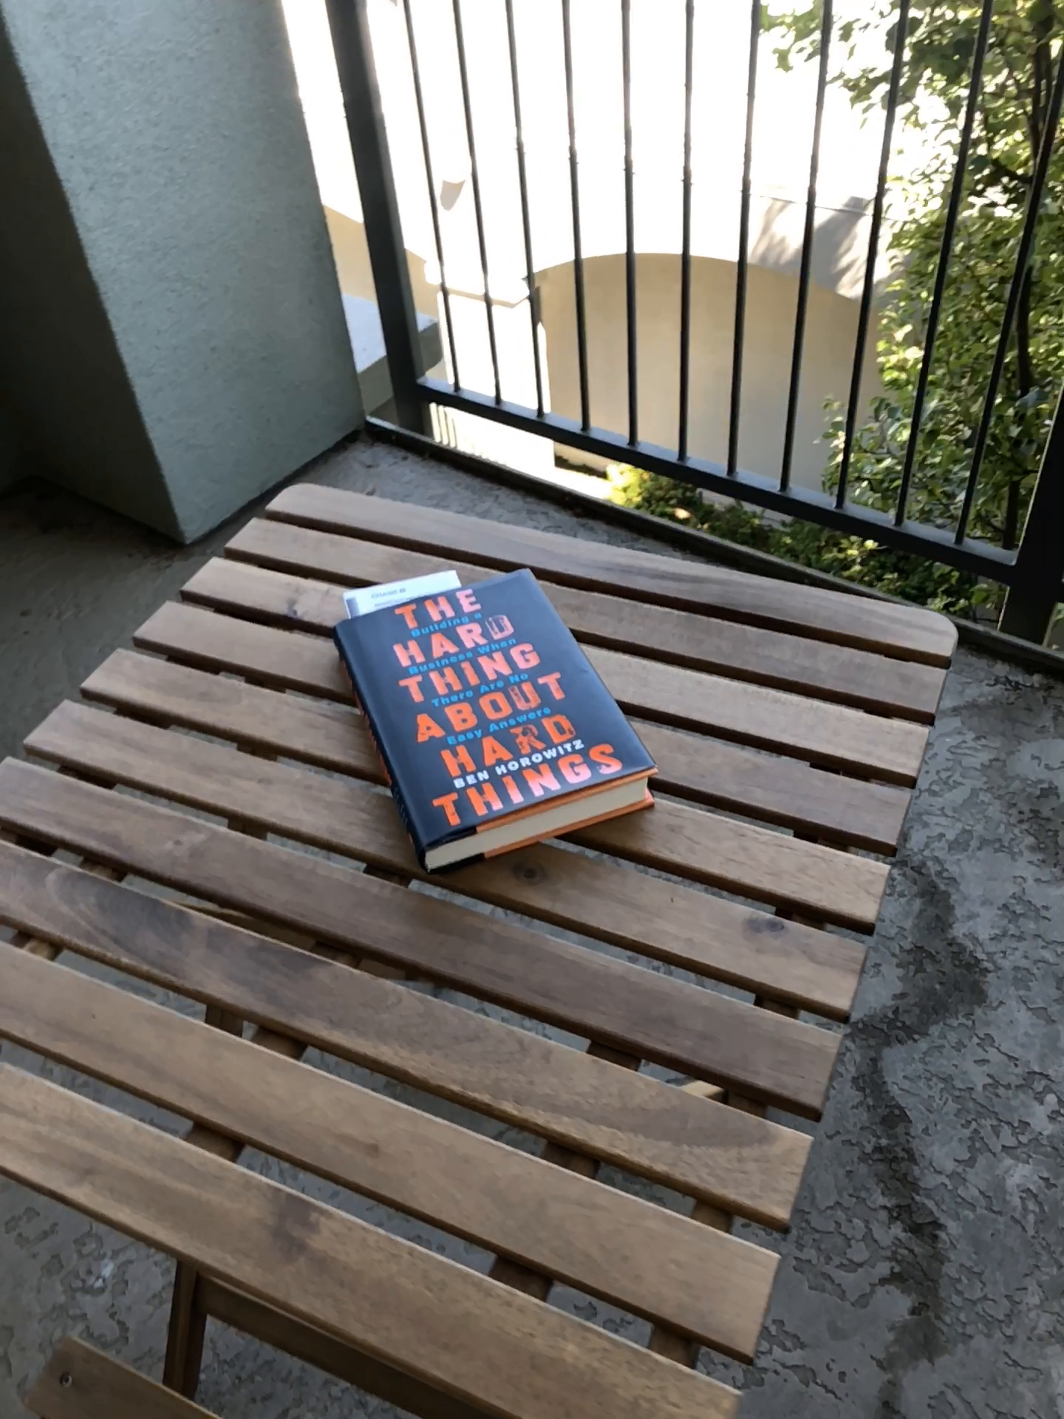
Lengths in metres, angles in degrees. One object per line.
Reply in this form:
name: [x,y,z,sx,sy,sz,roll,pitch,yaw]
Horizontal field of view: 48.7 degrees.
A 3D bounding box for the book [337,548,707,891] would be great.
book: [-0.016,-0.006,0.809,0.180,0.040,0.241,-17,45,-11]
